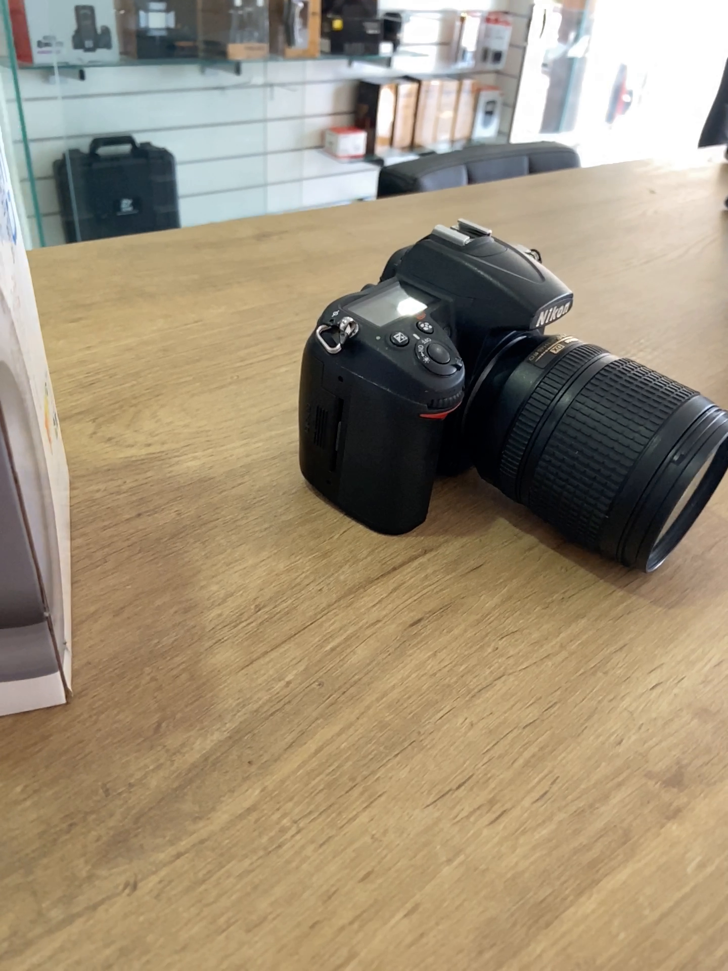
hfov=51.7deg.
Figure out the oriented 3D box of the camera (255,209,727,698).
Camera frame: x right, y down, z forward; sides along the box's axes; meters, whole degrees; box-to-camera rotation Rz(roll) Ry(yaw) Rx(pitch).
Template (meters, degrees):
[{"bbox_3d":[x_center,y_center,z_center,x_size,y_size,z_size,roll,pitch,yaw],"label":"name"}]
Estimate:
[{"bbox_3d":[0.062,-0.031,0.312,0.160,0.099,0.141,29,42,28],"label":"camera"}]
